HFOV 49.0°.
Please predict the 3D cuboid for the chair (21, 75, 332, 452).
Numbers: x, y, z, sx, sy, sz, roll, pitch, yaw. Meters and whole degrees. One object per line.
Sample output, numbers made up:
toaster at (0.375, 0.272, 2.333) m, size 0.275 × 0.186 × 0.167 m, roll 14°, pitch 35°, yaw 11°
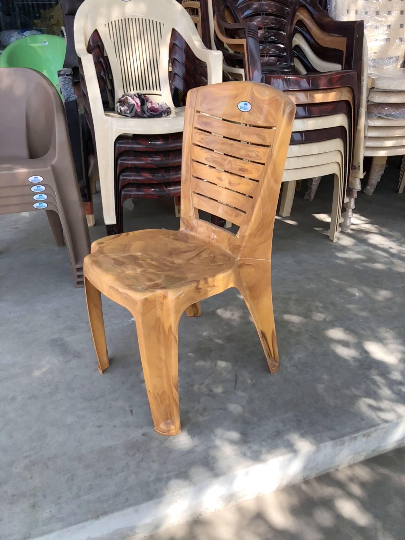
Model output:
chair at (-0.056, -0.078, 1.264) m, size 0.562 × 0.816 × 0.501 m, roll -24°, pitch 35°, yaw -36°
